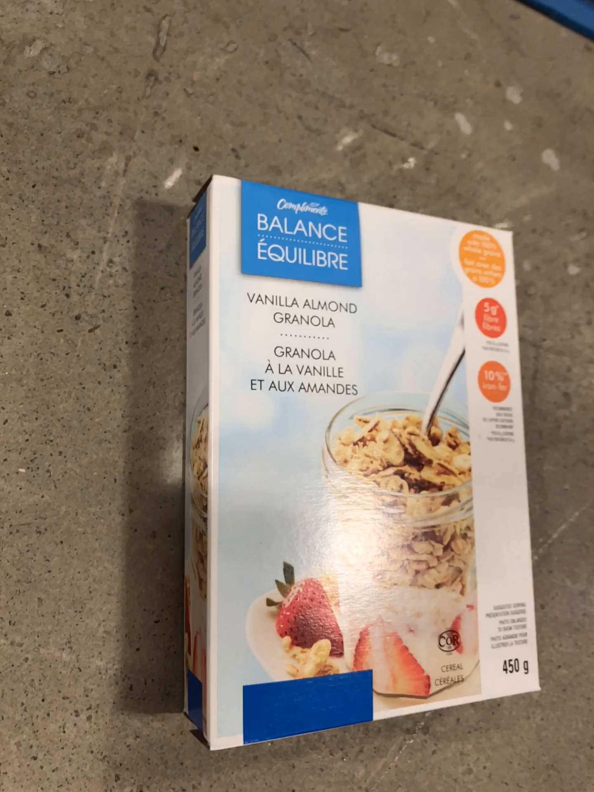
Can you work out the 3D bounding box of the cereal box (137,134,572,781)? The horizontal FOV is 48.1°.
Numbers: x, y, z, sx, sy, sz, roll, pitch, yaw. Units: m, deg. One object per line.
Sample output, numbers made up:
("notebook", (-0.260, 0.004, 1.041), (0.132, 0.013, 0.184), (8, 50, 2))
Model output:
("cereal box", (0.030, 0.023, 0.309), (0.191, 0.050, 0.240), (3, 82, -24))
